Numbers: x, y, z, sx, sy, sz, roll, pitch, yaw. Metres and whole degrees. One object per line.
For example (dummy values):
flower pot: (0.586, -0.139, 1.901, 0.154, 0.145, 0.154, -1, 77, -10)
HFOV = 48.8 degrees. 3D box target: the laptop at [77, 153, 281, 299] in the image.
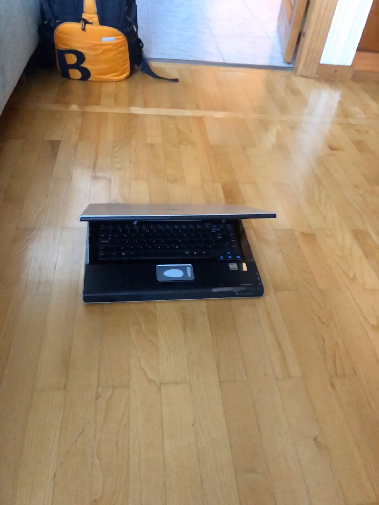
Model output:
laptop: (-0.034, -0.064, 0.875, 0.362, 0.147, 0.269, -1, 45, -10)
